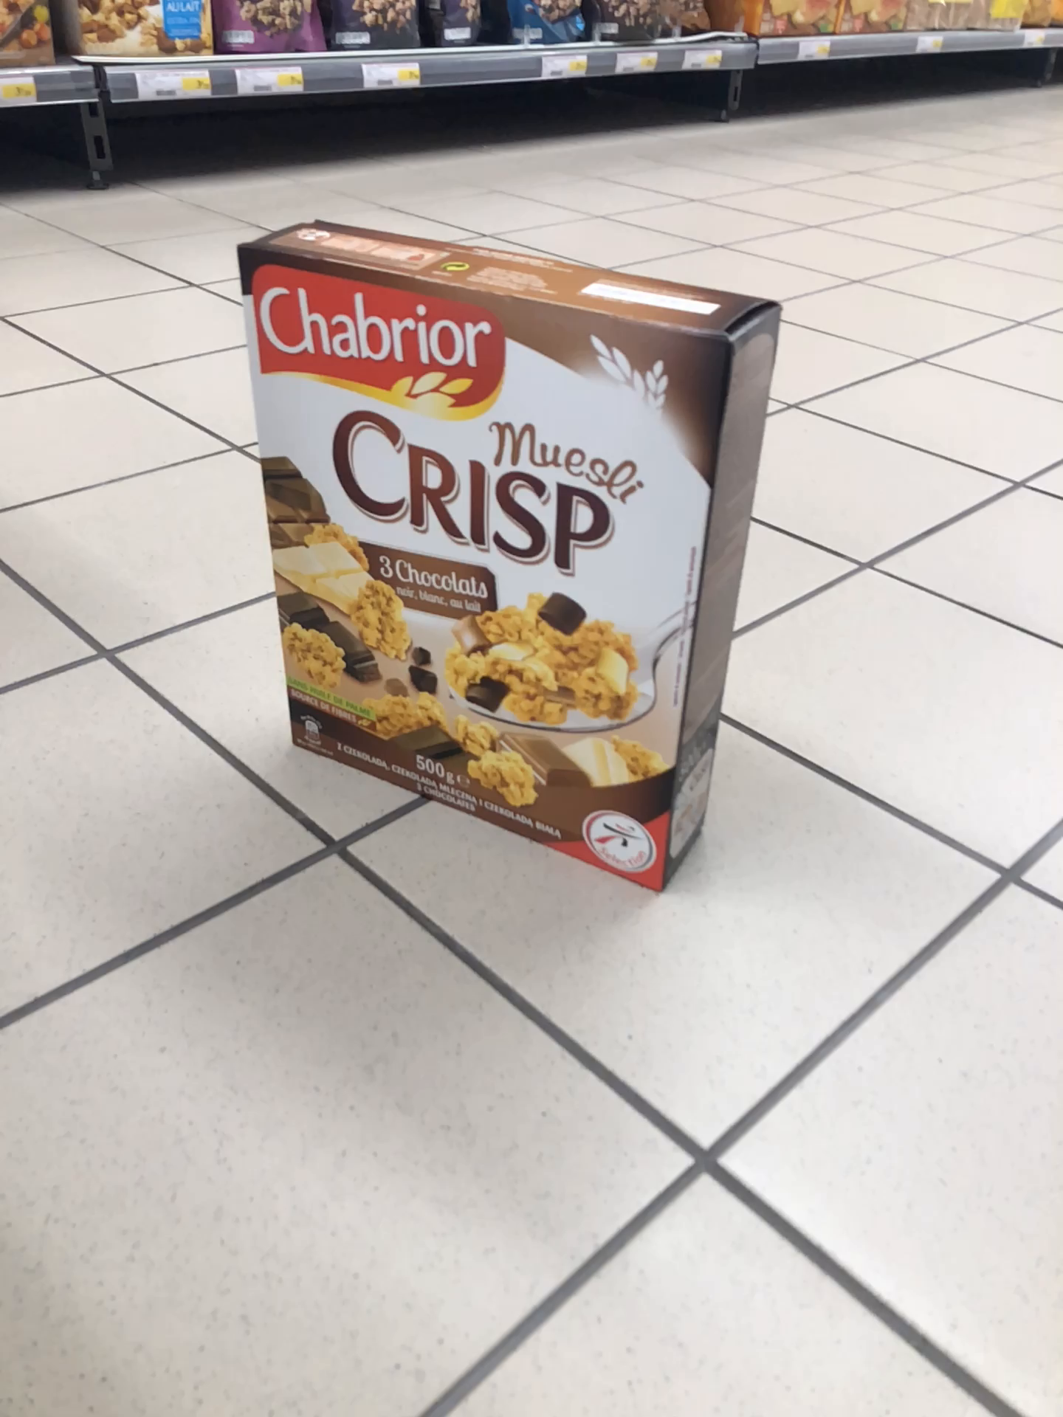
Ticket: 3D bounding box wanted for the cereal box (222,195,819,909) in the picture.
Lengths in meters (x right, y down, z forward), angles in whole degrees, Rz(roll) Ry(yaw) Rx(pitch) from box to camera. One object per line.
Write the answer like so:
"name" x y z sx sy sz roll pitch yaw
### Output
"cereal box" -0.013 -0.061 0.456 0.200 0.229 0.060 19 37 24
